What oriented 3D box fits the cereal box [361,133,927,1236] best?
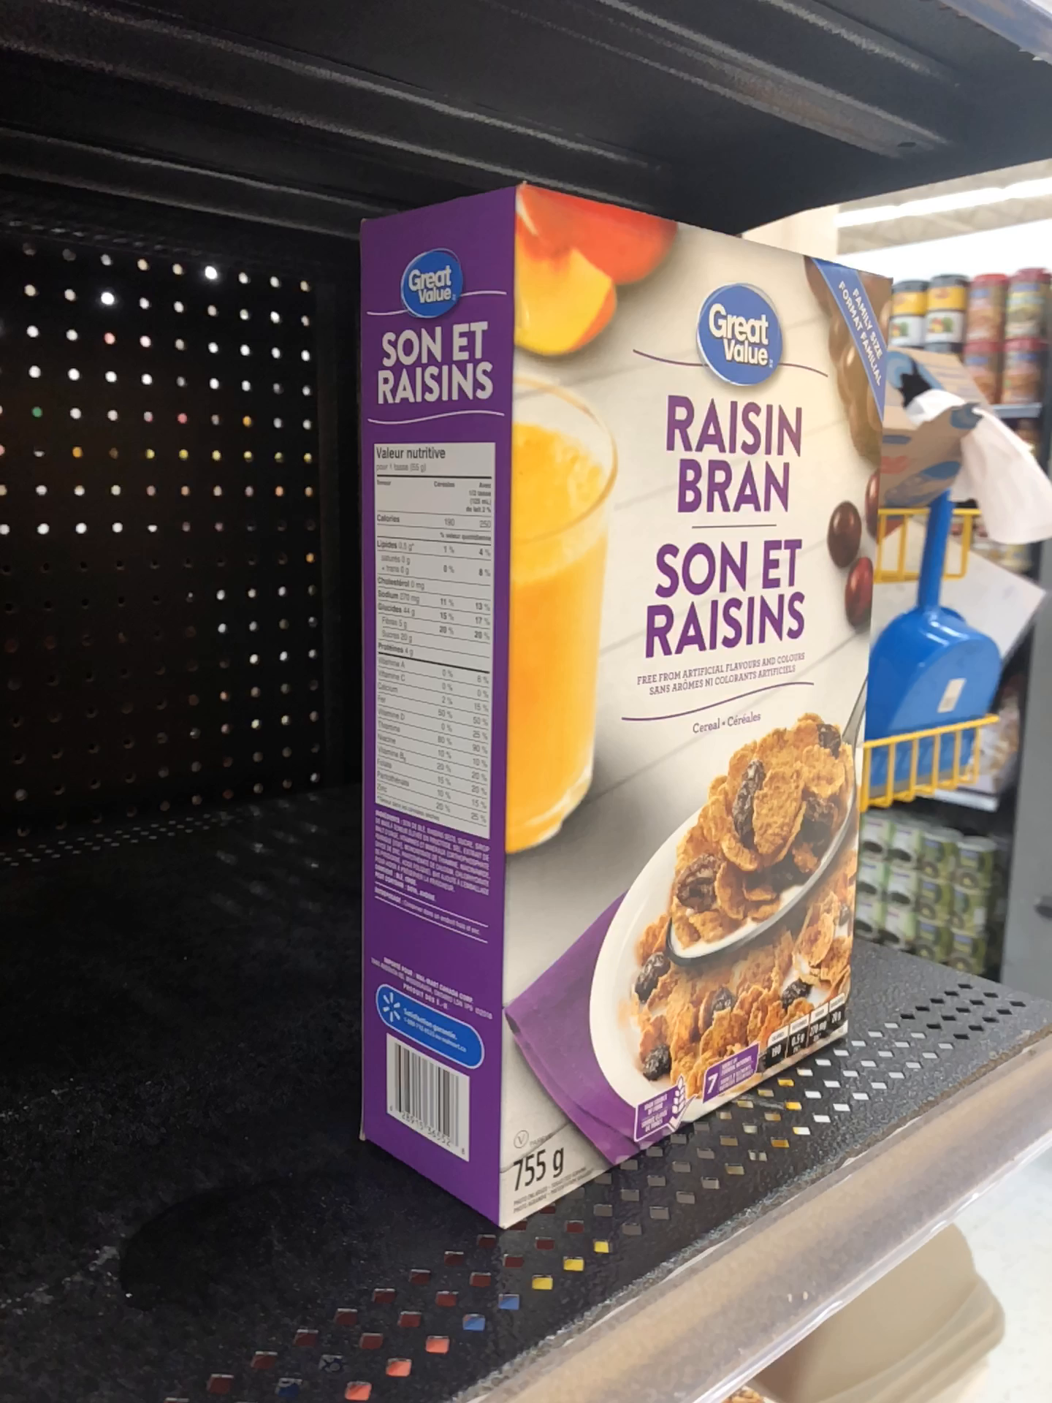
[{"bbox_3d":[0.048,-0.009,0.412,0.070,0.299,0.210,11,13,43],"label":"cereal box"}]
